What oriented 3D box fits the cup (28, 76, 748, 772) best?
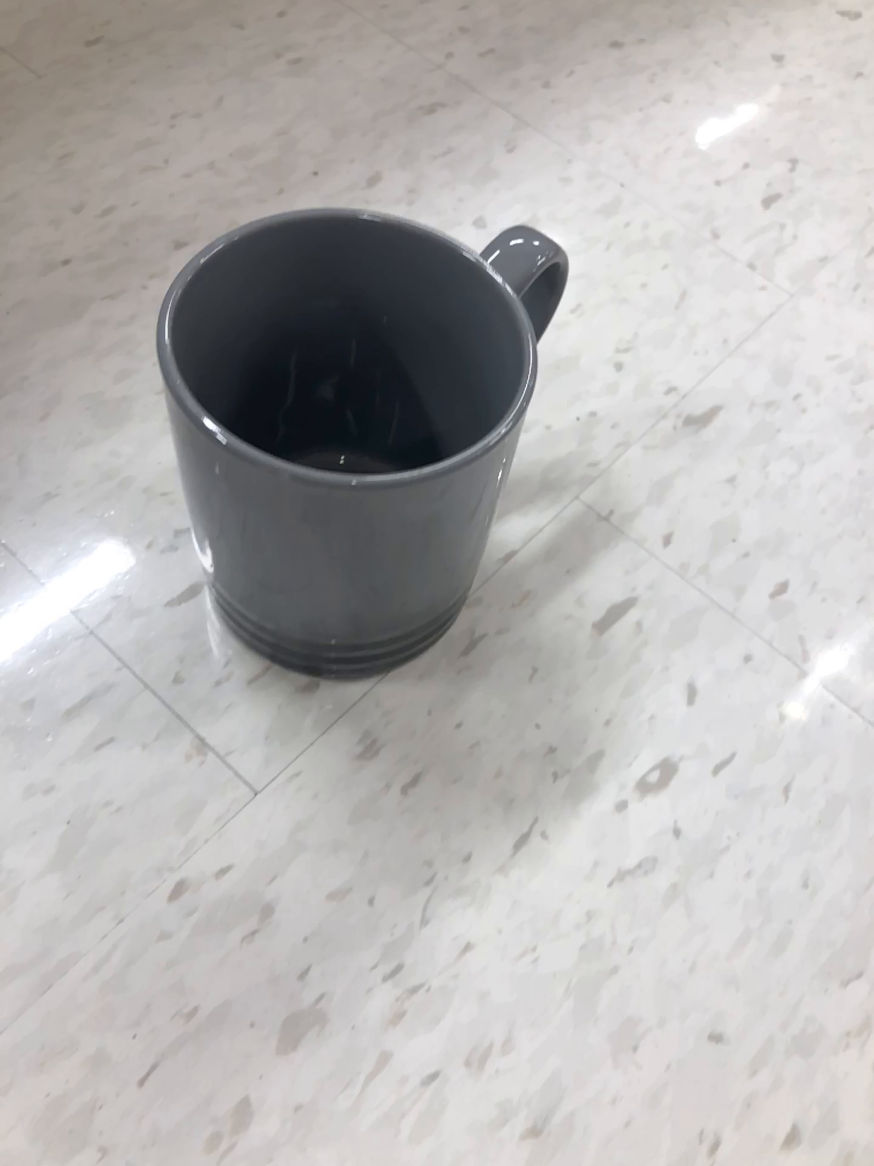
[{"bbox_3d":[-0.009,-0.048,0.273,0.100,0.090,0.150,39,62,14],"label":"cup"}]
